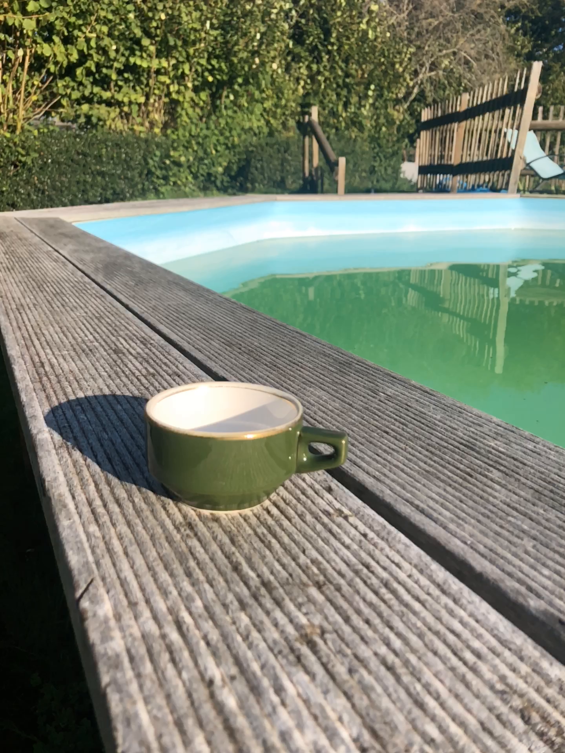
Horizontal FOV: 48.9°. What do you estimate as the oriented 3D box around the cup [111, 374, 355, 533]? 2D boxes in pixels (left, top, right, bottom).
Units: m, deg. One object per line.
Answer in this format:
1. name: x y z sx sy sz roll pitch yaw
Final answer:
1. cup: -0.019 0.032 0.303 0.095 0.038 0.083 5 16 13
